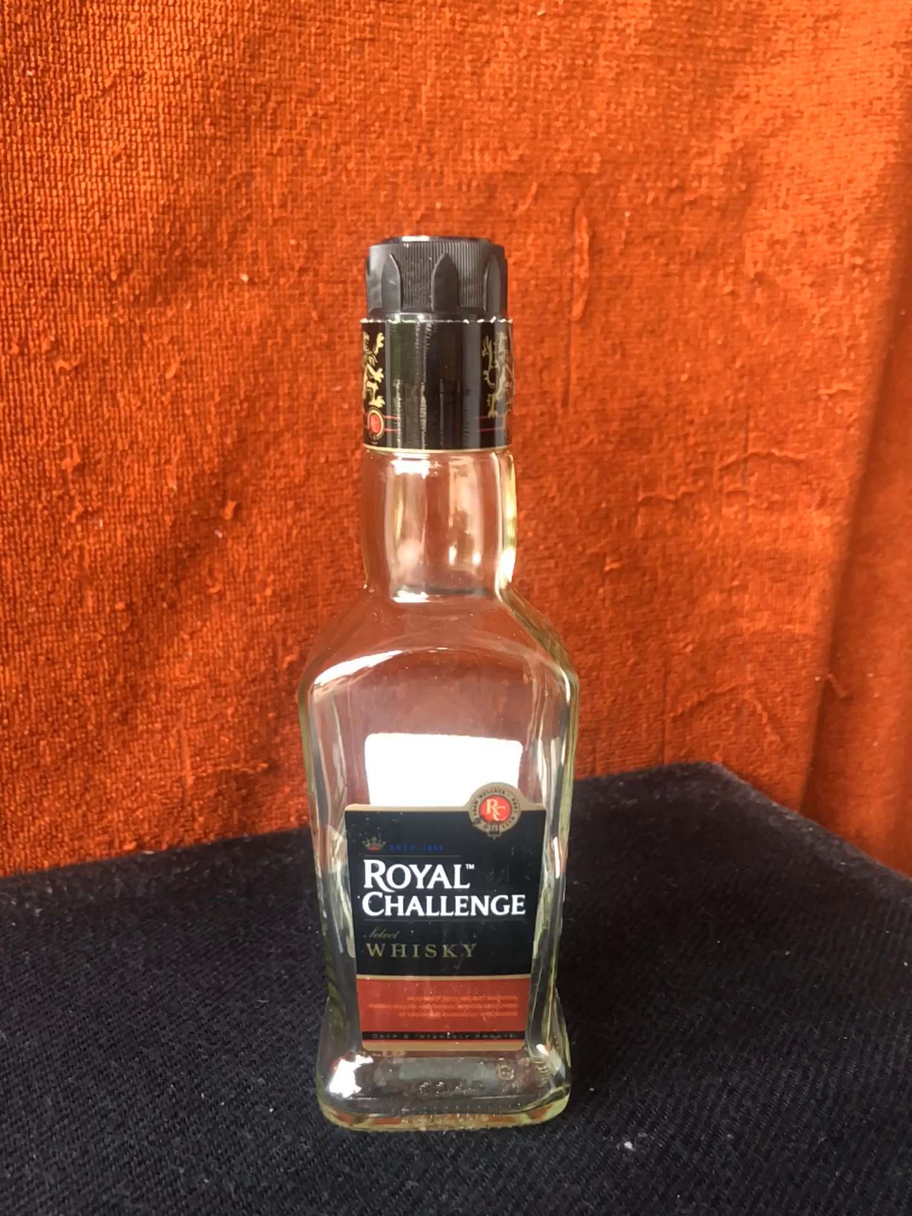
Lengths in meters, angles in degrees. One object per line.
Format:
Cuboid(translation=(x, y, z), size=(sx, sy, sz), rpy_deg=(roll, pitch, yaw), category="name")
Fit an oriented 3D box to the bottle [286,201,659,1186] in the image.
Cuboid(translation=(-0.002, 0.021, 0.211), size=(0.060, 0.189, 0.050), rpy_deg=(2, 15, -3), category="bottle")
